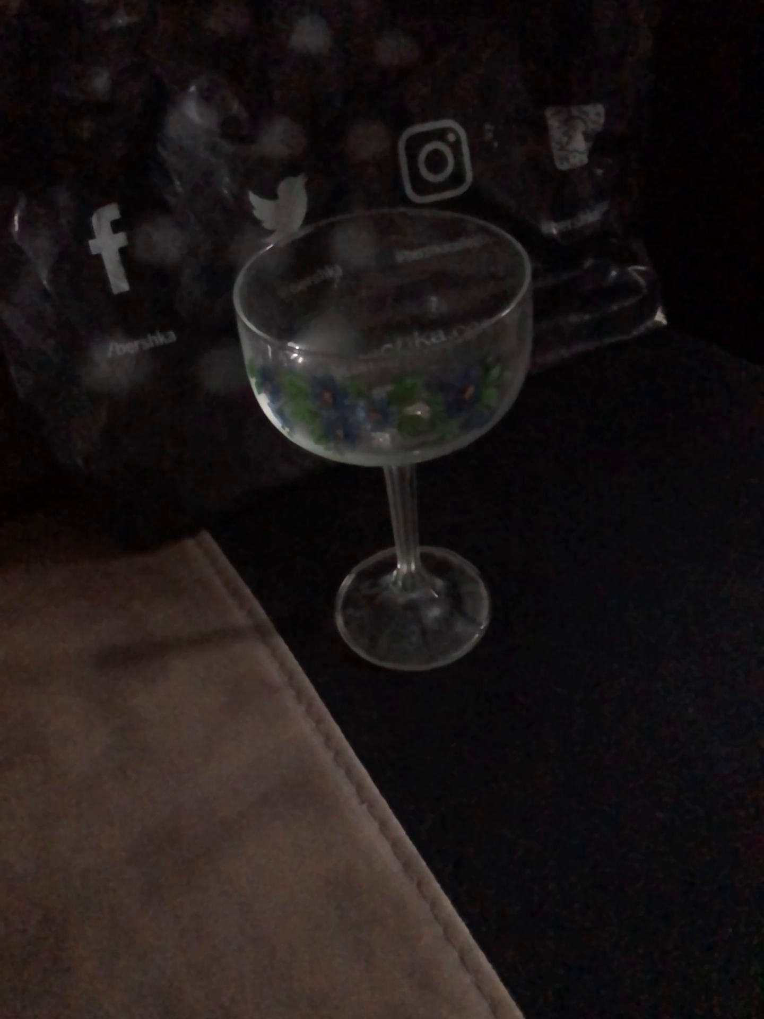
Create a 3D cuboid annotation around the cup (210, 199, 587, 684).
[{"bbox_3d":[0.006,-0.018,0.297,0.096,0.147,0.085,-1,45,1],"label":"cup"}]
